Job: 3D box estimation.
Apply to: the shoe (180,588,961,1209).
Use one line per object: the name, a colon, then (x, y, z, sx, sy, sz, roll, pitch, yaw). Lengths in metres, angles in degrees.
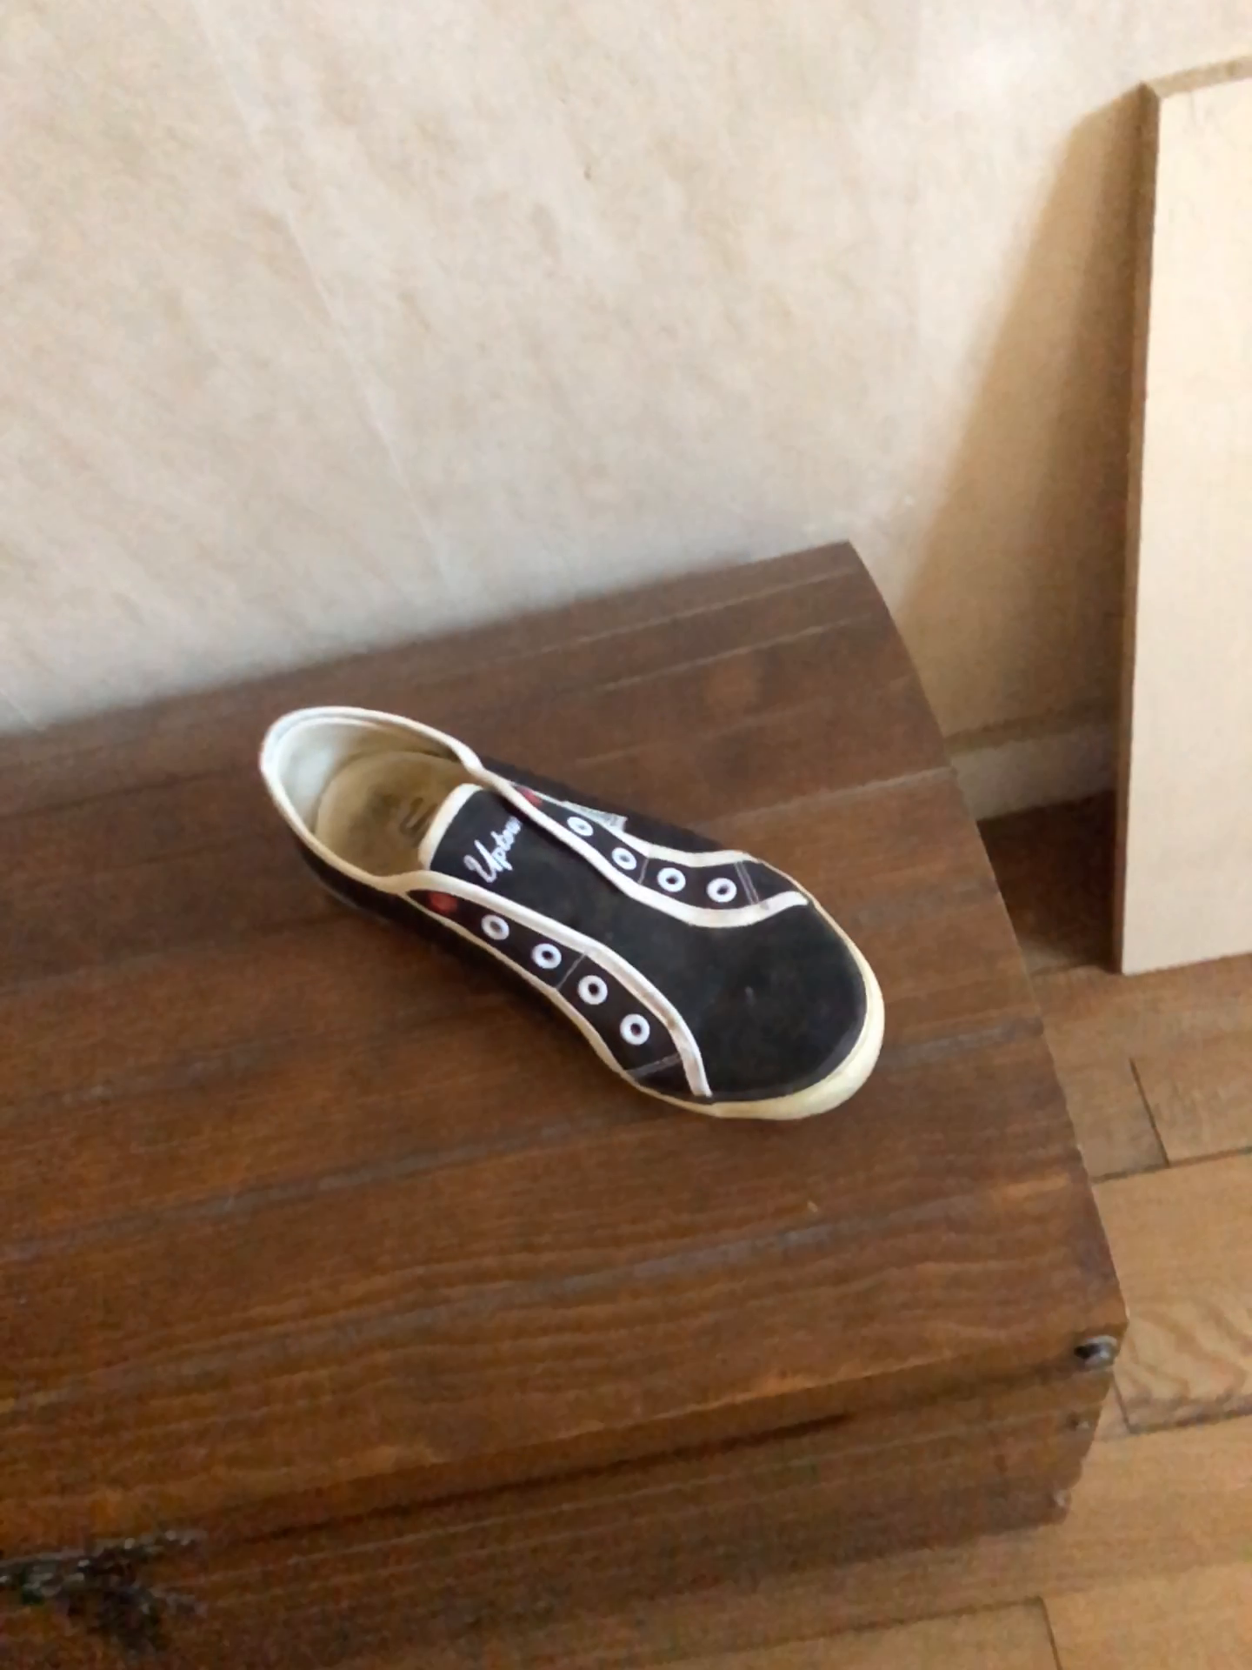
shoe: (-0.019, 0.015, 0.476, 0.240, 0.080, 0.100, 25, 68, 23)
